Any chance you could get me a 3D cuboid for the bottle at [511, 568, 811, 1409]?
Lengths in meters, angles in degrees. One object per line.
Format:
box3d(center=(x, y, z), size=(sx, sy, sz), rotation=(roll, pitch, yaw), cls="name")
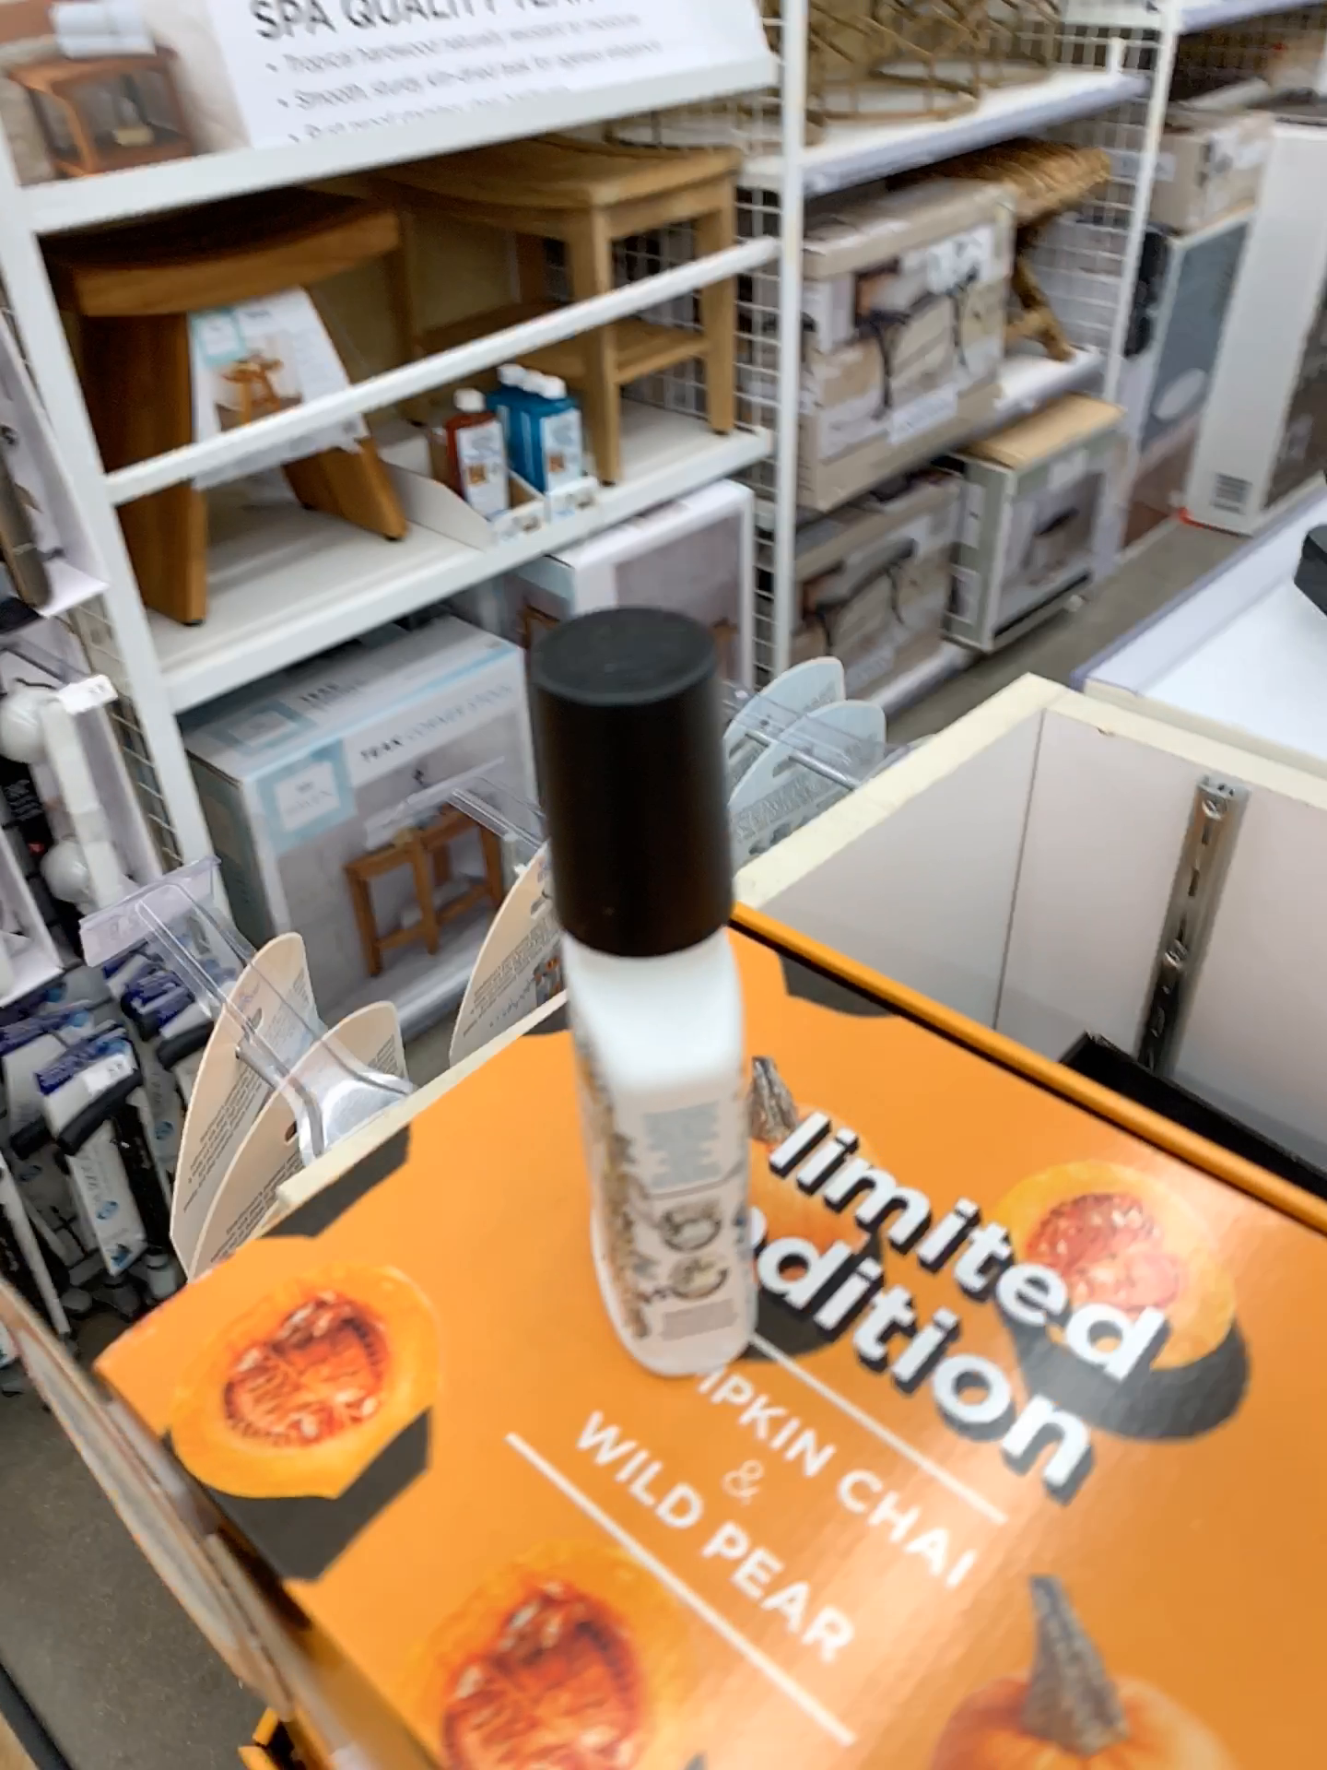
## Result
box3d(center=(0.000, 0.026, 0.249), size=(0.033, 0.151, 0.055), rotation=(-10, 38, -9), cls="bottle")
